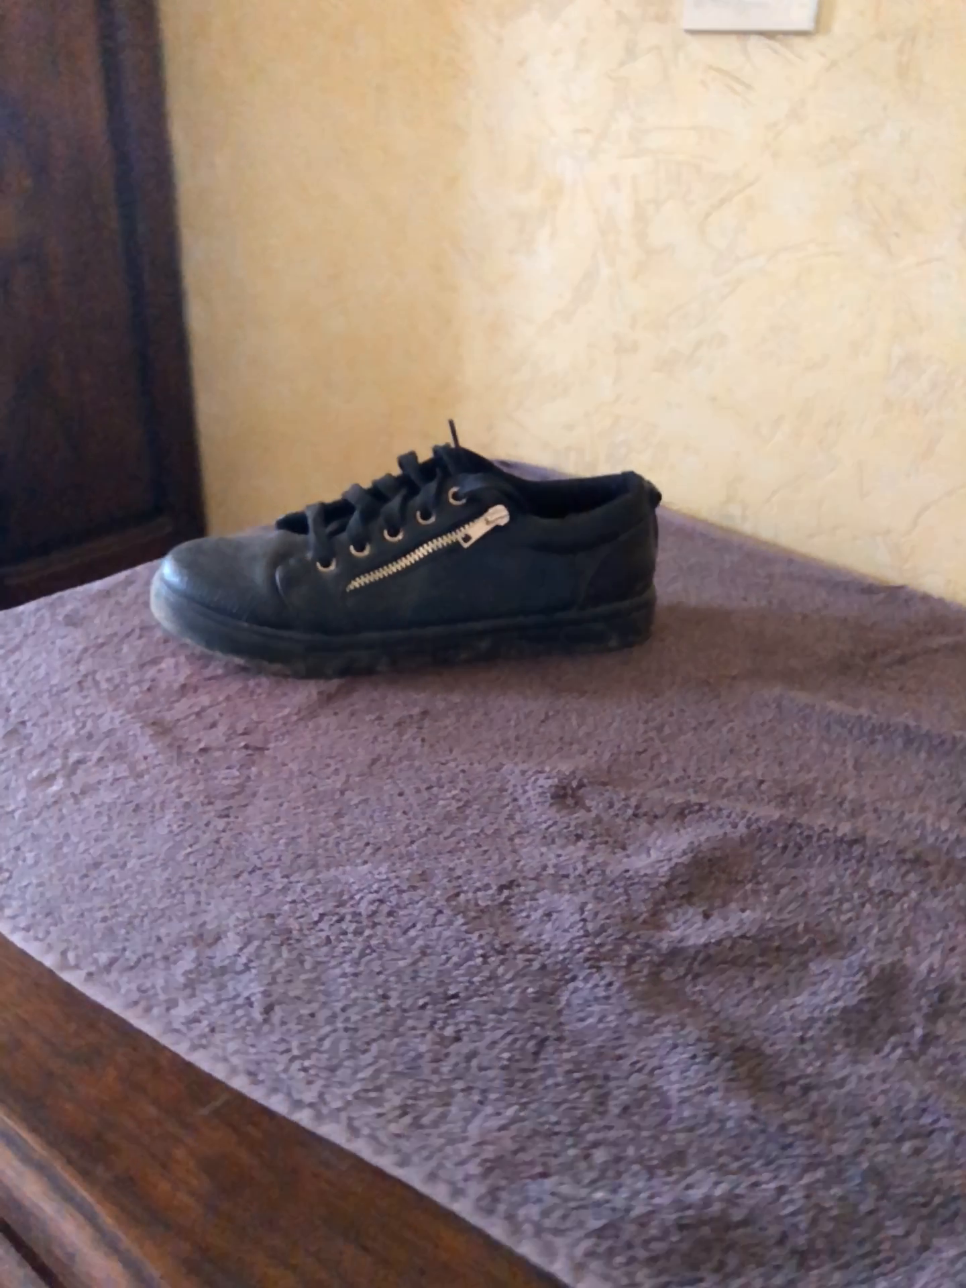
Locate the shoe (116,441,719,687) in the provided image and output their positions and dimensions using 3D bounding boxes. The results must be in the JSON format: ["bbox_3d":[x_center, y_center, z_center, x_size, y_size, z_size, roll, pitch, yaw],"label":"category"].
[{"bbox_3d":[-0.031,-0.044,0.544,0.270,0.089,0.101,-1,27,-5],"label":"shoe"}]
